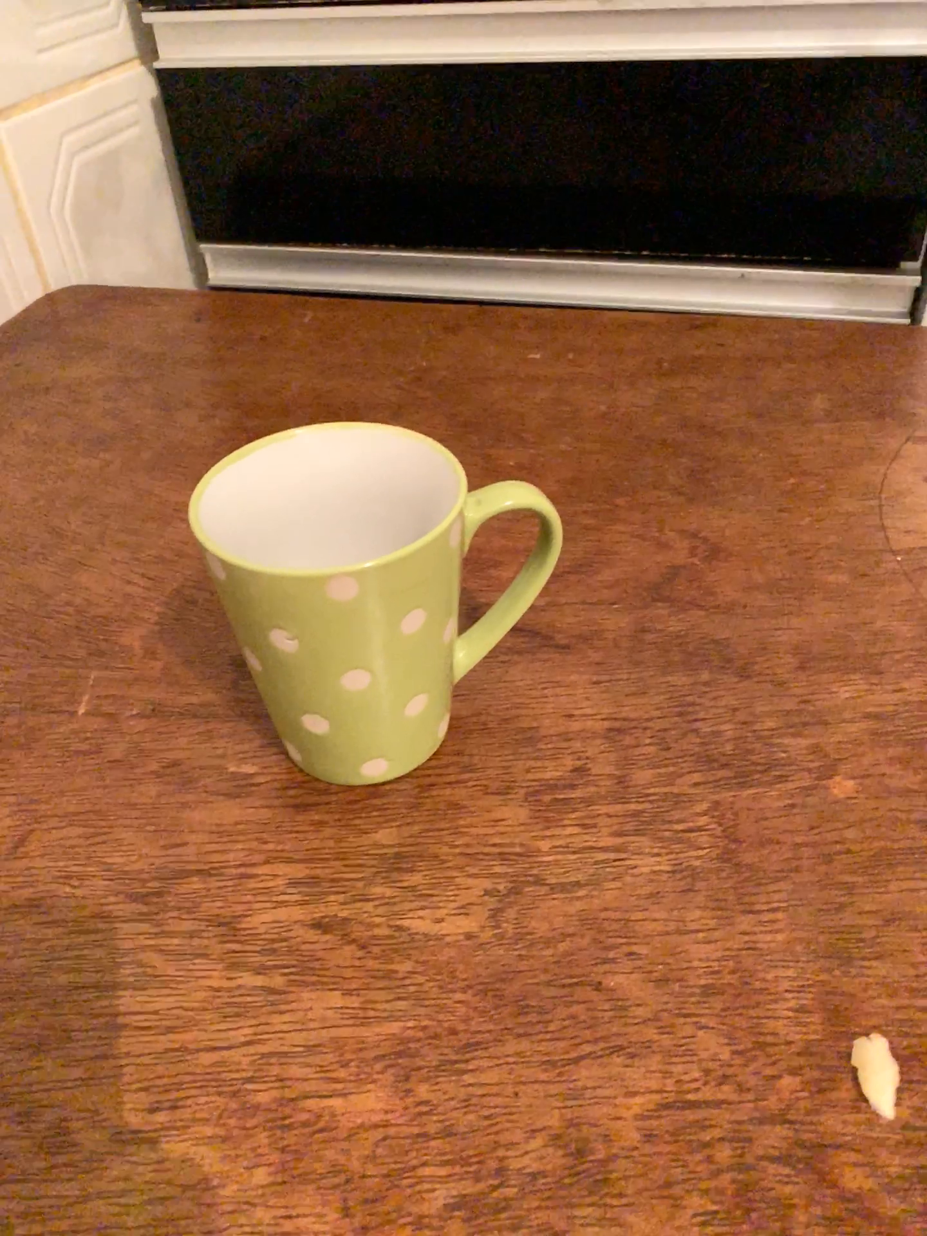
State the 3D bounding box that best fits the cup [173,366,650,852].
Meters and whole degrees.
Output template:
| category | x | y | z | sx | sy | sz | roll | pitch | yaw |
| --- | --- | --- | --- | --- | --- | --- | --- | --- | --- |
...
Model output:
| category | x | y | z | sx | sy | sz | roll | pitch | yaw |
| --- | --- | --- | --- | --- | --- | --- | --- | --- | --- |
| cup | -0.017 | -0.008 | 0.321 | 0.120 | 0.099 | 0.090 | -18 | 42 | -17 |
